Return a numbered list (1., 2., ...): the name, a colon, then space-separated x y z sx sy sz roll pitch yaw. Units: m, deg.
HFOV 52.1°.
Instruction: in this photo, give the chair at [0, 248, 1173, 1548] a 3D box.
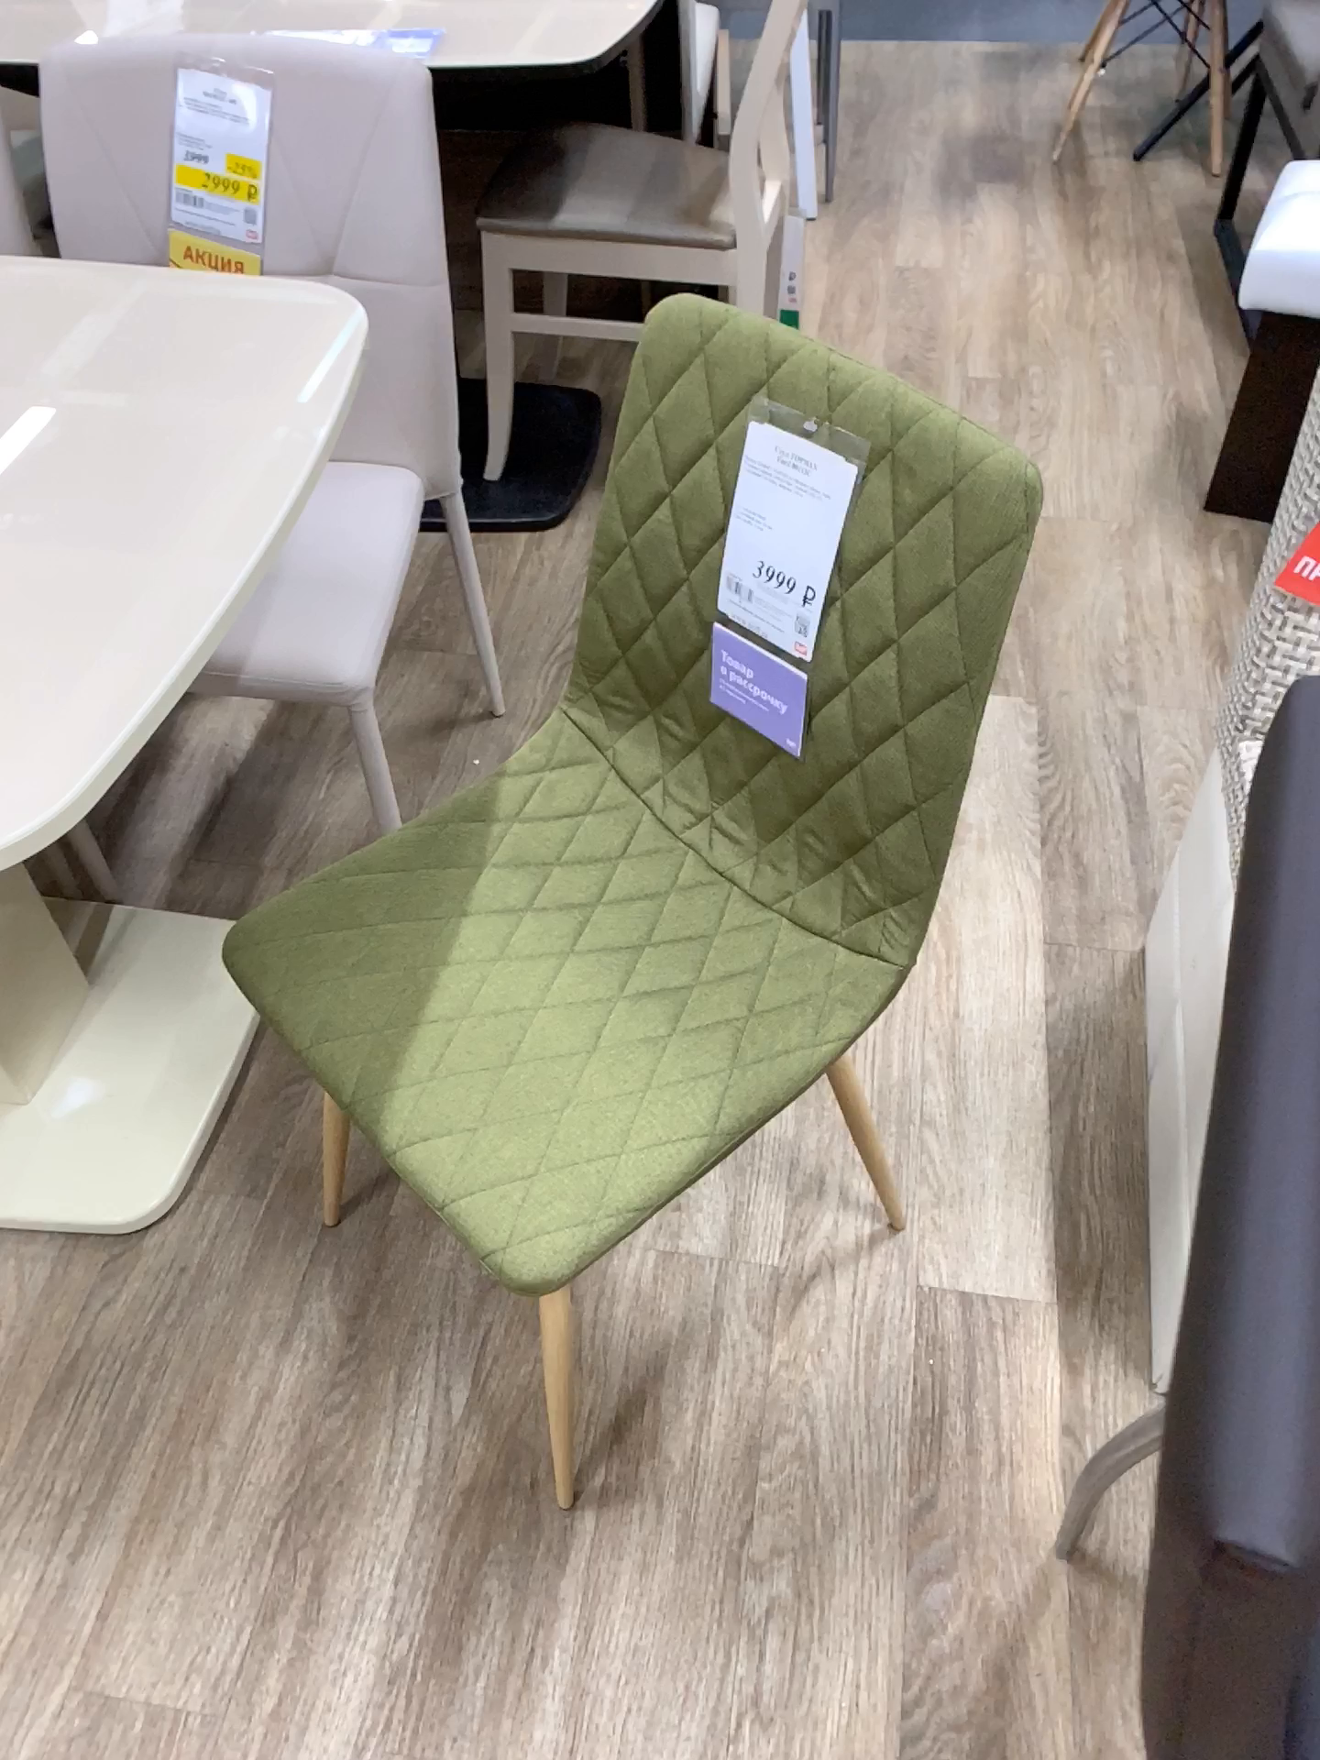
1. chair: -0.040 0.042 1.159 0.561 0.836 0.501 -35 55 -26
